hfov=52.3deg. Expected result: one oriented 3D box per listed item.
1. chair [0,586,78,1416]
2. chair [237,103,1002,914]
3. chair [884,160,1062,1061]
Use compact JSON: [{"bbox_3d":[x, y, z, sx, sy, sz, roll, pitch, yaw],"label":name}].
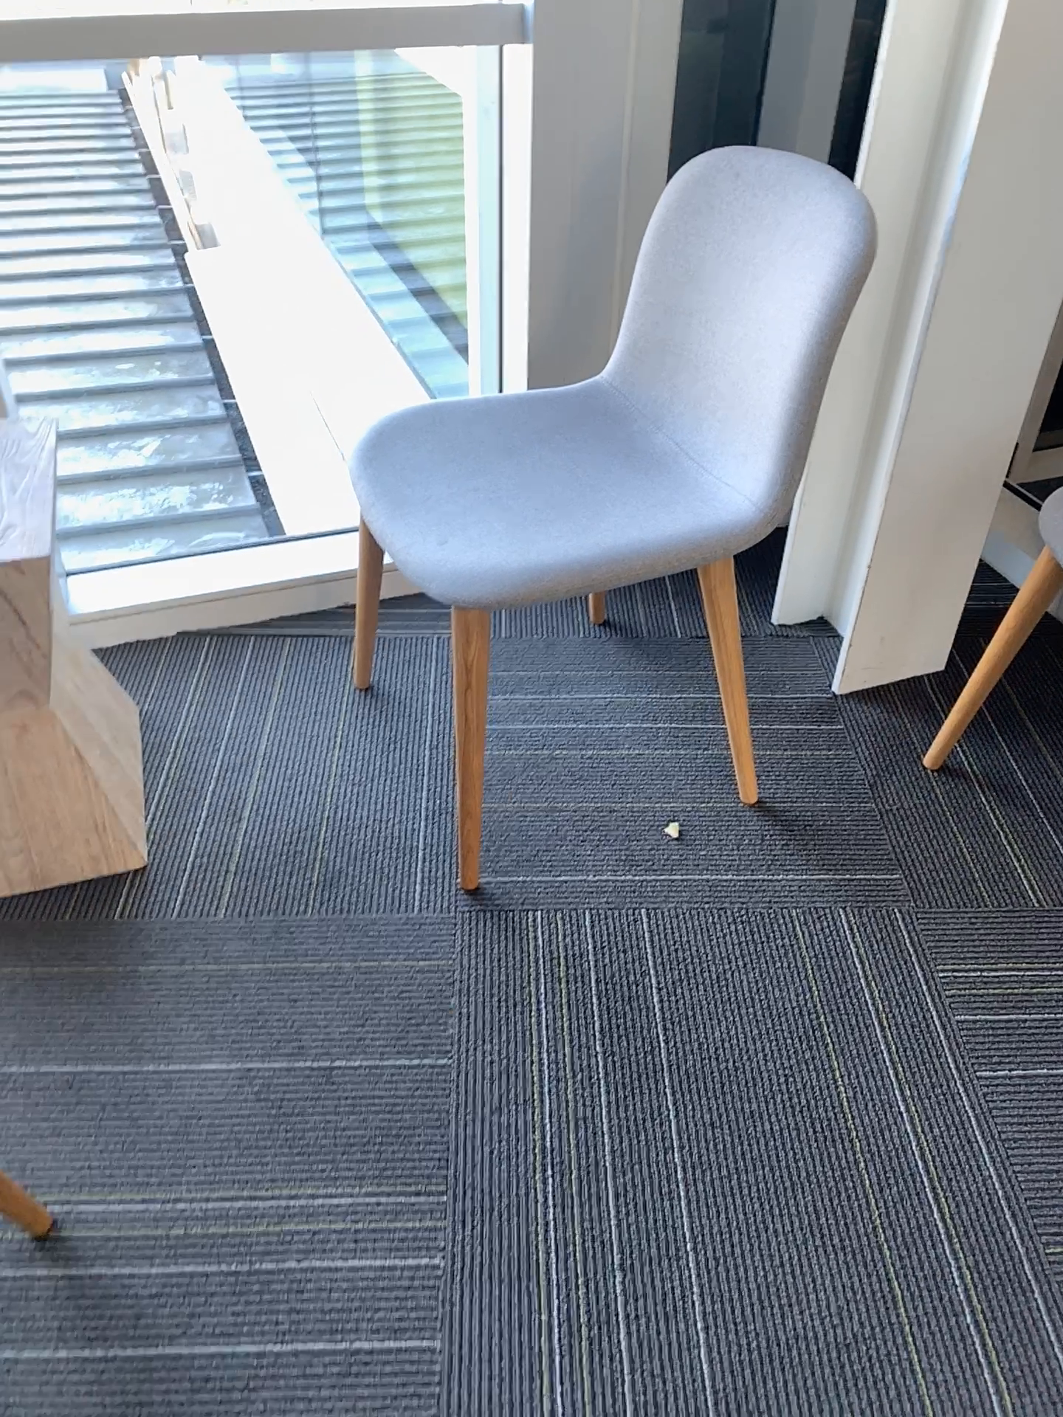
[{"bbox_3d":[-0.610,0.389,0.569,0.540,0.676,0.473,-11,41,-15],"label":"chair"},{"bbox_3d":[0.042,-0.297,1.410,0.600,0.726,0.654,-15,42,-19],"label":"chair"},{"bbox_3d":[0.896,-0.137,1.225,0.590,0.726,0.563,-14,42,-18],"label":"chair"}]
